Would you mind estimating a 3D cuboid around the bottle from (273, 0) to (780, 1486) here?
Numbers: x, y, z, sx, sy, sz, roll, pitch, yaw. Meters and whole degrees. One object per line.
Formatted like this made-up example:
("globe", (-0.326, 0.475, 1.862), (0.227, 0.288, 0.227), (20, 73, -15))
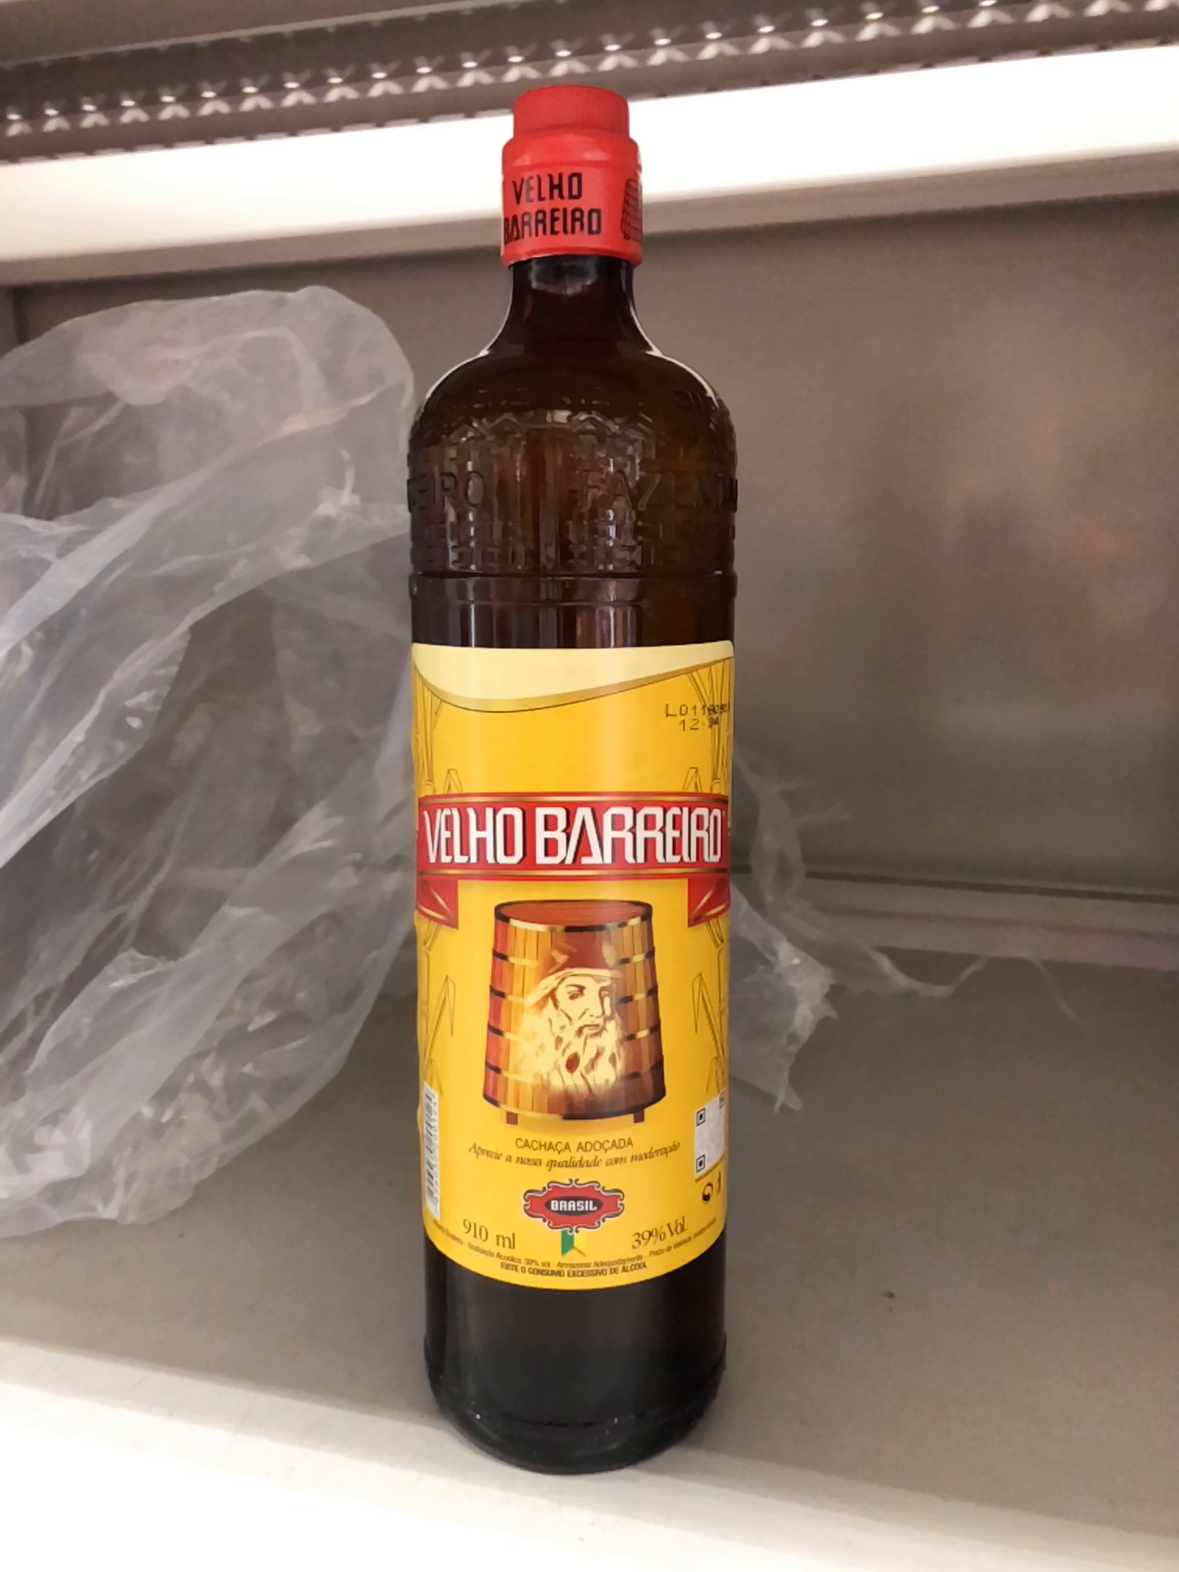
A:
("bottle", (-0.007, -0.002, 0.301), (0.090, 0.299, 0.080), (-2, 10, 1))
